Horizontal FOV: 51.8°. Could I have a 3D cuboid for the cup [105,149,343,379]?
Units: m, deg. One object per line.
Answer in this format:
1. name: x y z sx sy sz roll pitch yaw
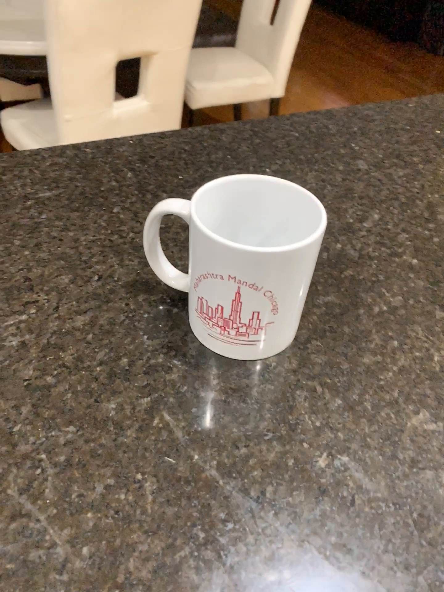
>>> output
1. cup: 0.002 -0.024 0.311 0.124 0.097 0.082 18 44 15
